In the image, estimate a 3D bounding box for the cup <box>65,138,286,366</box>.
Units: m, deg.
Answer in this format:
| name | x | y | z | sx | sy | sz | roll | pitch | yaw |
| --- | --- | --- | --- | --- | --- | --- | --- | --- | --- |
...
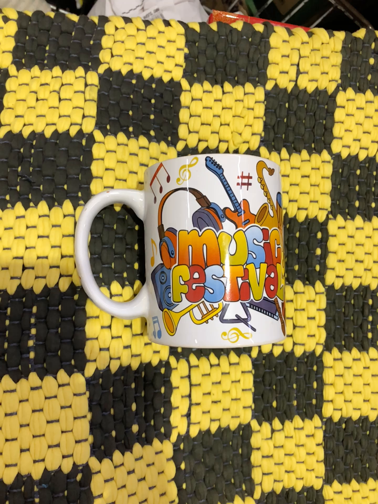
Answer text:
| name | x | y | z | sx | sy | sz | roll | pitch | yaw |
| --- | --- | --- | --- | --- | --- | --- | --- | --- | --- |
| cup | -0.004 | 0.004 | 0.227 | 0.100 | 0.070 | 0.100 | -1 | 85 | 9 |
